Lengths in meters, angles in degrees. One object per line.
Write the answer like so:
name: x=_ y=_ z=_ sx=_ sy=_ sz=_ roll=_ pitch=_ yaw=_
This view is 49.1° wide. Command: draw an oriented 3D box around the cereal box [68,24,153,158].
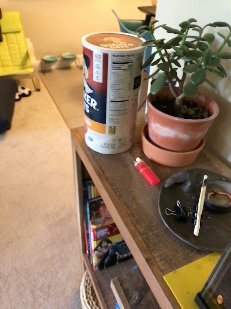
cereal box: x=-0.019 y=-0.142 z=0.578 sx=0.140 sy=0.248 sz=0.141 roll=-8 pitch=40 yaw=-12
